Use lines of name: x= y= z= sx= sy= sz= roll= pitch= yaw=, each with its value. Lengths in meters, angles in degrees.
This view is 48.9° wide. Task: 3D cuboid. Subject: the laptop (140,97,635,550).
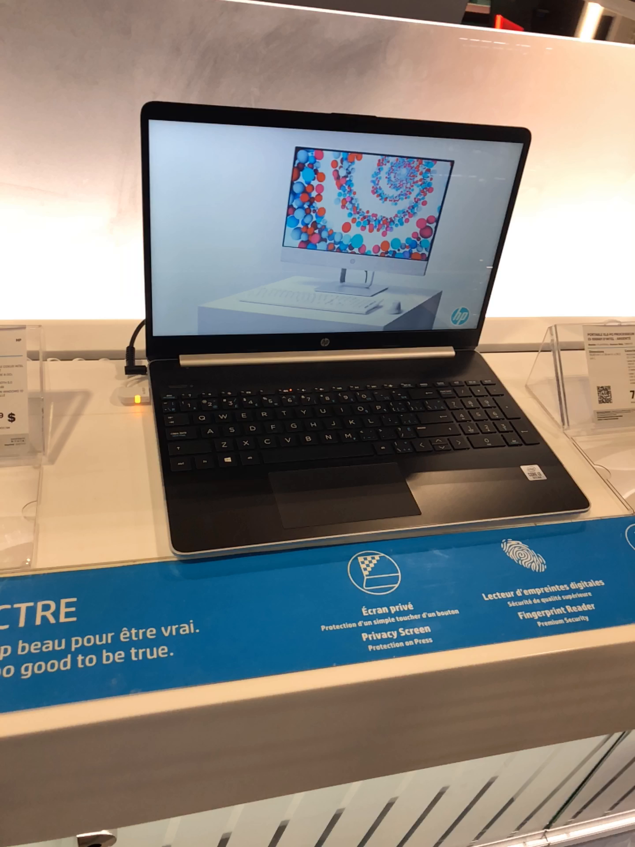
laptop: x=0.044 y=-0.098 z=0.586 sx=0.355 sy=0.221 sz=0.284 roll=-3 pitch=41 yaw=-16
